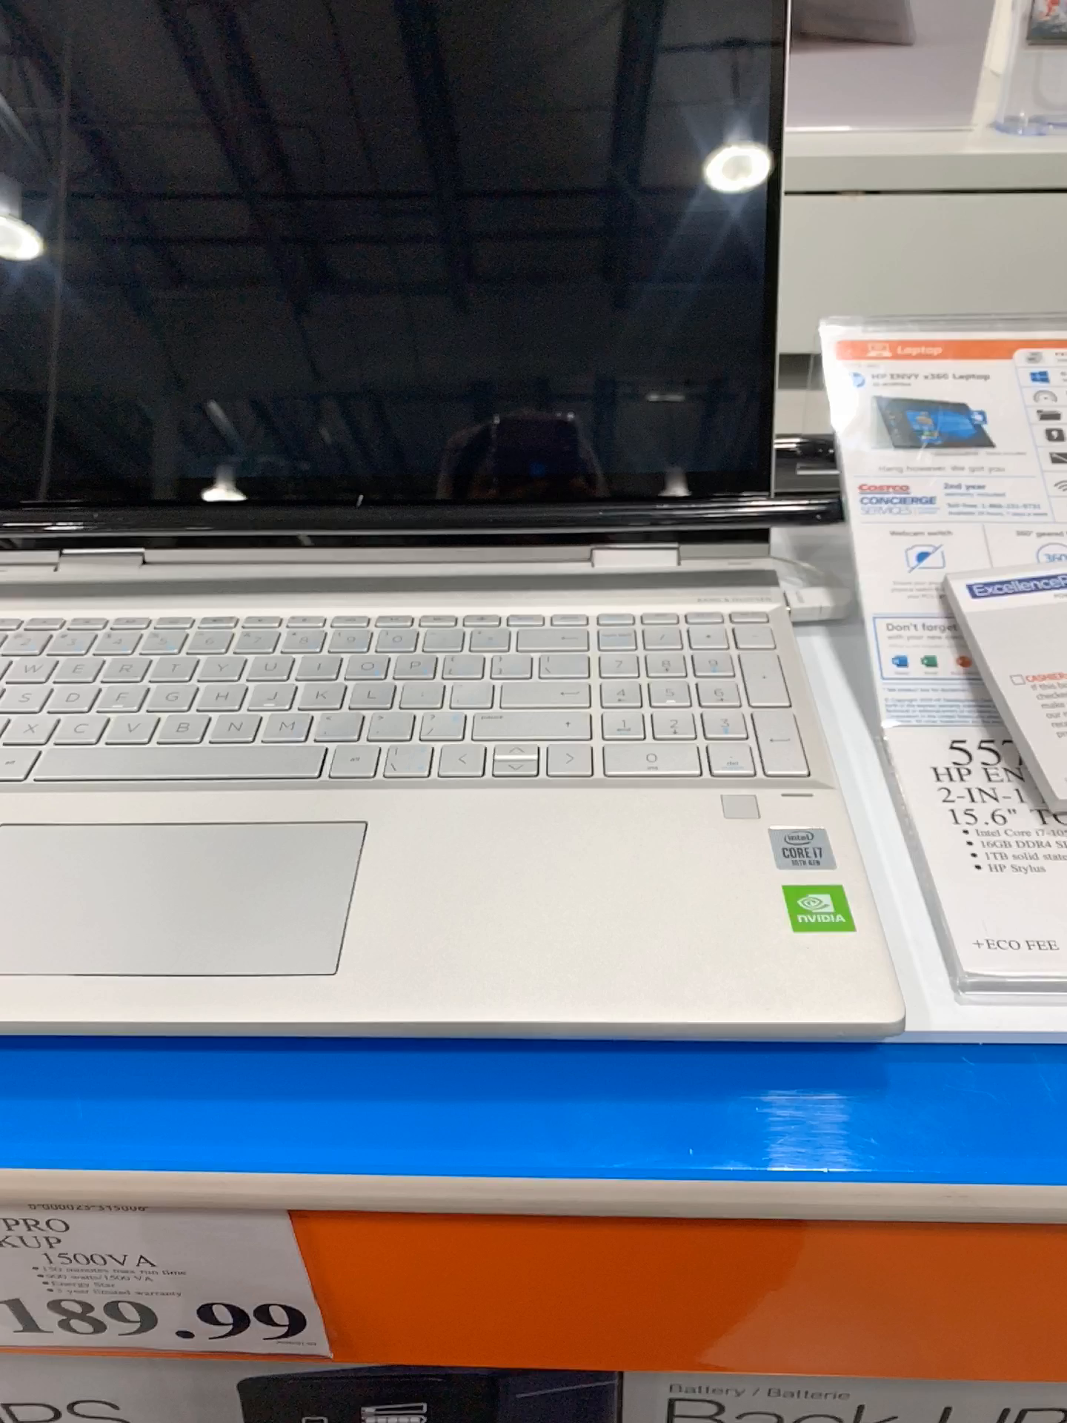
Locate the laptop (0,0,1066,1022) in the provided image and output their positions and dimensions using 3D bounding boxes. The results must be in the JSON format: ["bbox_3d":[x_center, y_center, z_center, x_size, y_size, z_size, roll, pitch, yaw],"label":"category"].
[{"bbox_3d":[-0.078,-0.106,0.359,0.346,0.209,0.341,-1,38,1],"label":"laptop"}]
